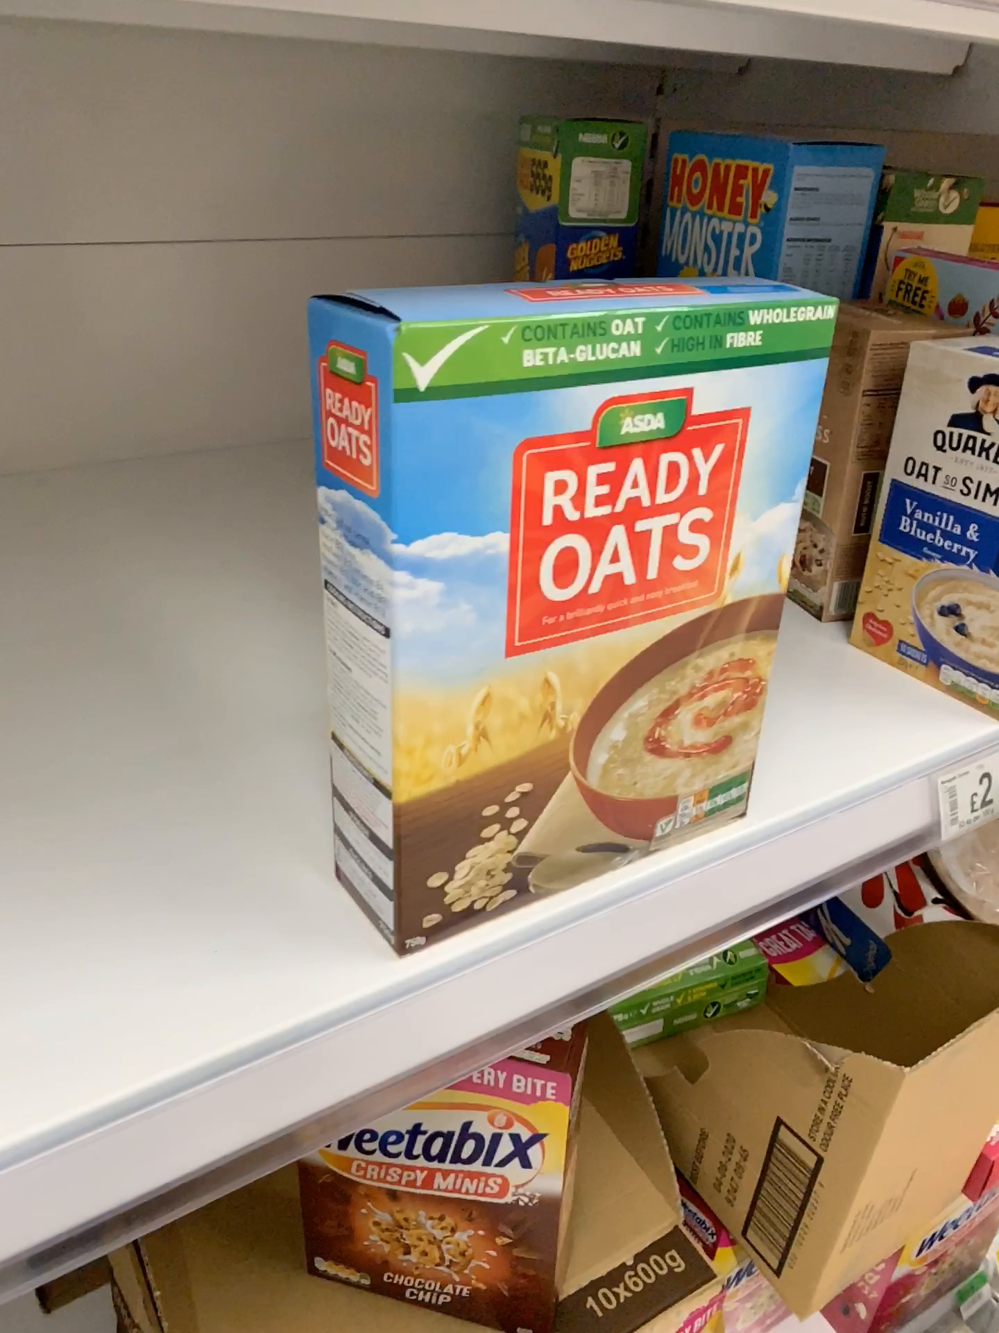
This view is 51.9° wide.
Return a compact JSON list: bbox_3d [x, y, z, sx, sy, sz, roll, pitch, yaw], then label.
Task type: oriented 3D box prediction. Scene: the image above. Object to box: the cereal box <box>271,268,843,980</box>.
[{"bbox_3d":[0.022,-0.025,0.438,0.211,0.258,0.070,-15,33,-30],"label":"cereal box"}]
